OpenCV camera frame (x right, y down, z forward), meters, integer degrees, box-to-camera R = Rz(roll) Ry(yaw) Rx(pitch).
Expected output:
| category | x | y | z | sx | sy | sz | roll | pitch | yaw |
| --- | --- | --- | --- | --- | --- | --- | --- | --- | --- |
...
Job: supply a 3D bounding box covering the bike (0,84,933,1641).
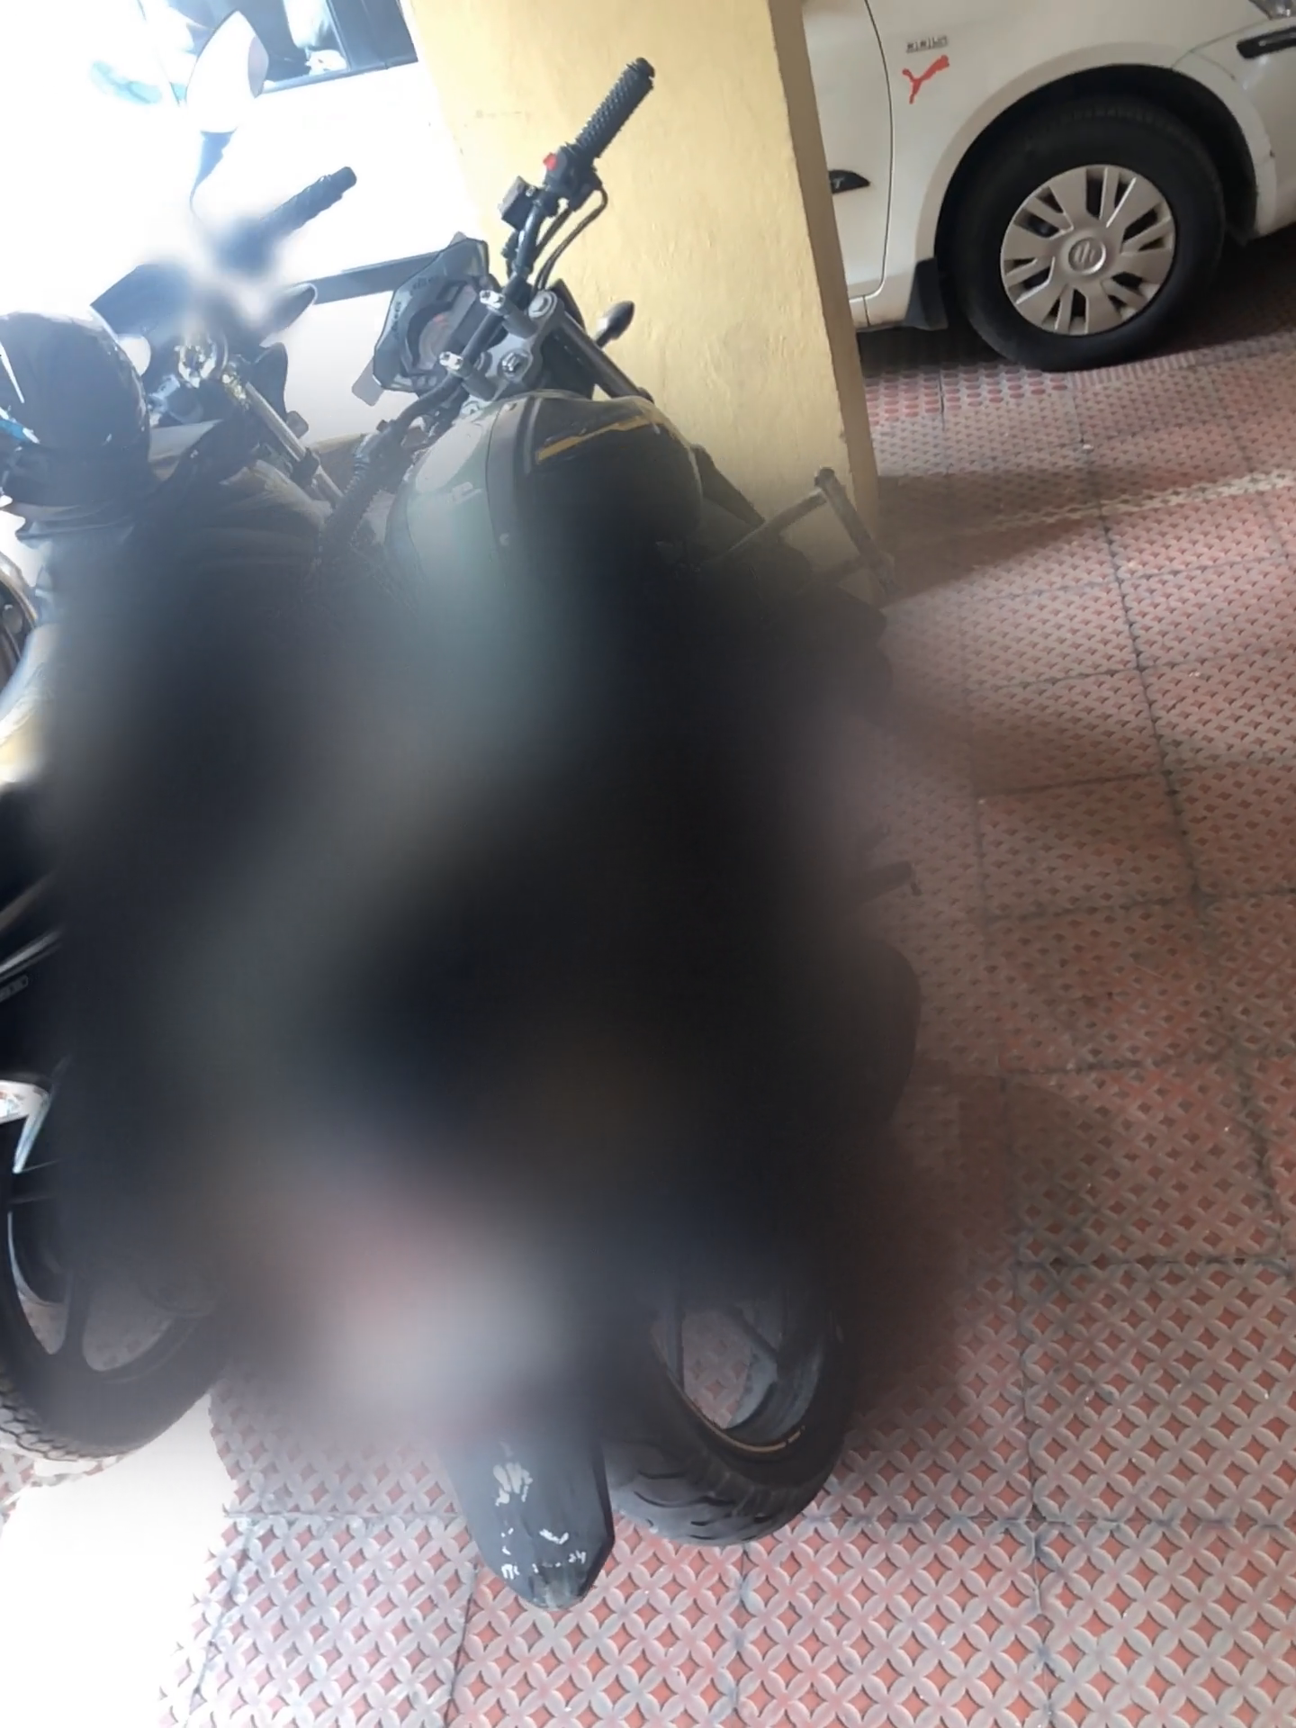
| category | x | y | z | sx | sy | sz | roll | pitch | yaw |
| --- | --- | --- | --- | --- | --- | --- | --- | --- | --- |
| bike | -0.194 | -0.176 | 1.828 | 0.739 | 1.090 | 1.817 | -10 | 36 | 10 |
